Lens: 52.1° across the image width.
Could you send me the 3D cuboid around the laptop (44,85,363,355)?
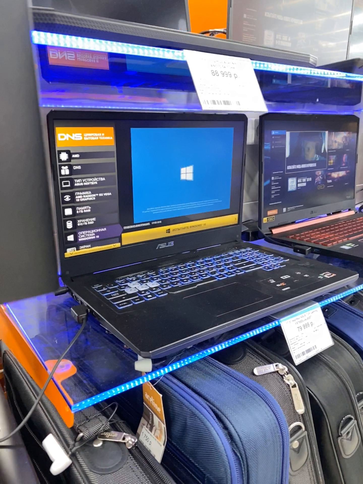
[{"bbox_3d":[0.044,-0.067,0.576,0.397,0.265,0.269,-11,17,-33],"label":"laptop"}]
